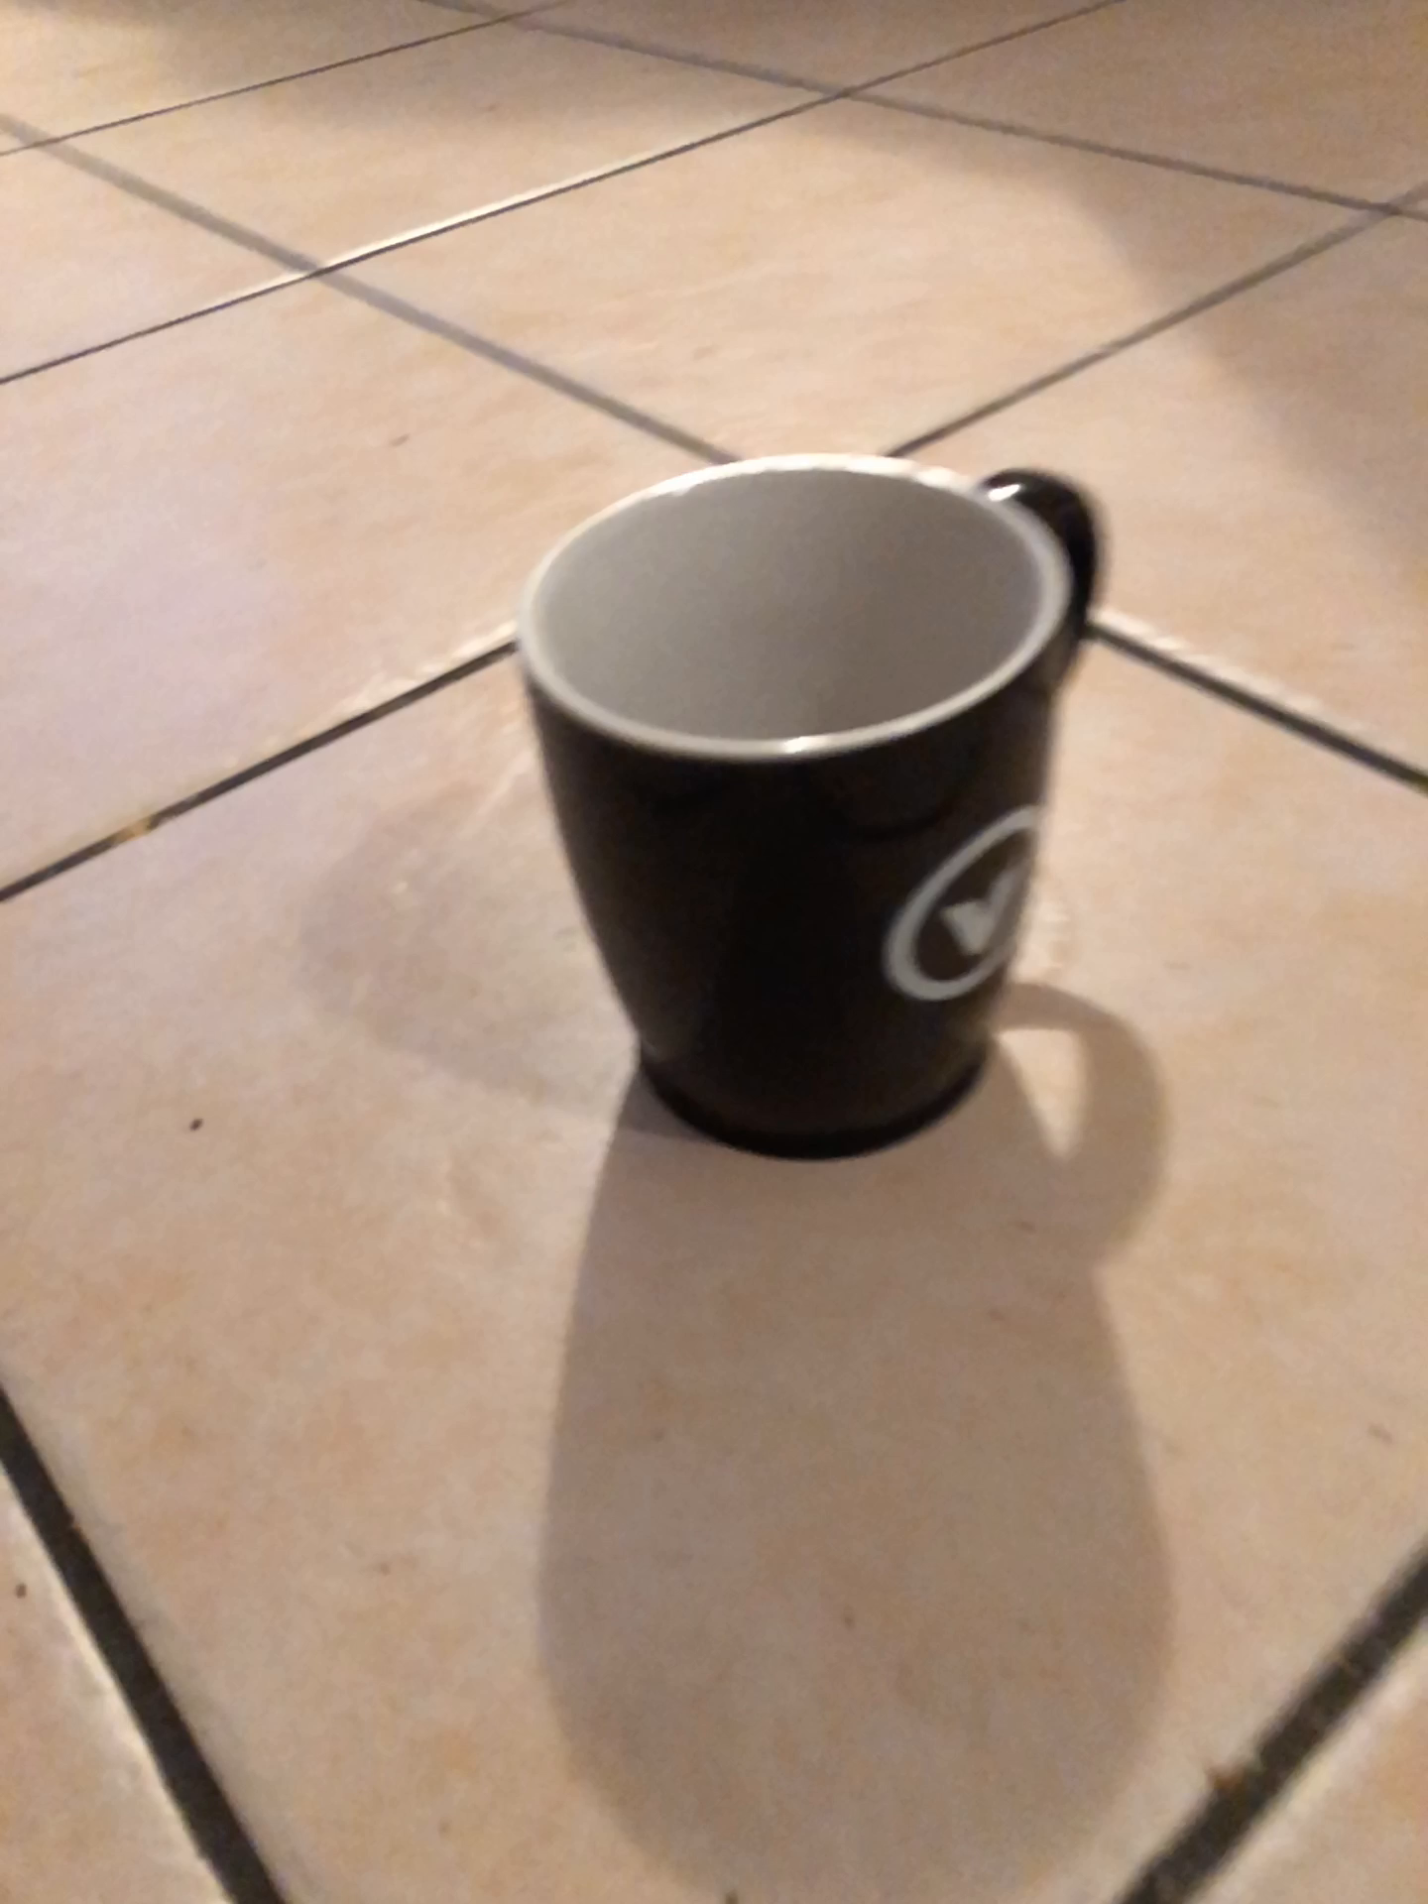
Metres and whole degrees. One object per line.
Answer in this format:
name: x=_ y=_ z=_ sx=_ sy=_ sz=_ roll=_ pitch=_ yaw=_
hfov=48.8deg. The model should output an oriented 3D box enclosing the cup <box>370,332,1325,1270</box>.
cup: x=0.029 y=-0.038 z=0.311 sx=0.140 sy=0.100 sz=0.100 roll=-36 pitch=50 yaw=-29
